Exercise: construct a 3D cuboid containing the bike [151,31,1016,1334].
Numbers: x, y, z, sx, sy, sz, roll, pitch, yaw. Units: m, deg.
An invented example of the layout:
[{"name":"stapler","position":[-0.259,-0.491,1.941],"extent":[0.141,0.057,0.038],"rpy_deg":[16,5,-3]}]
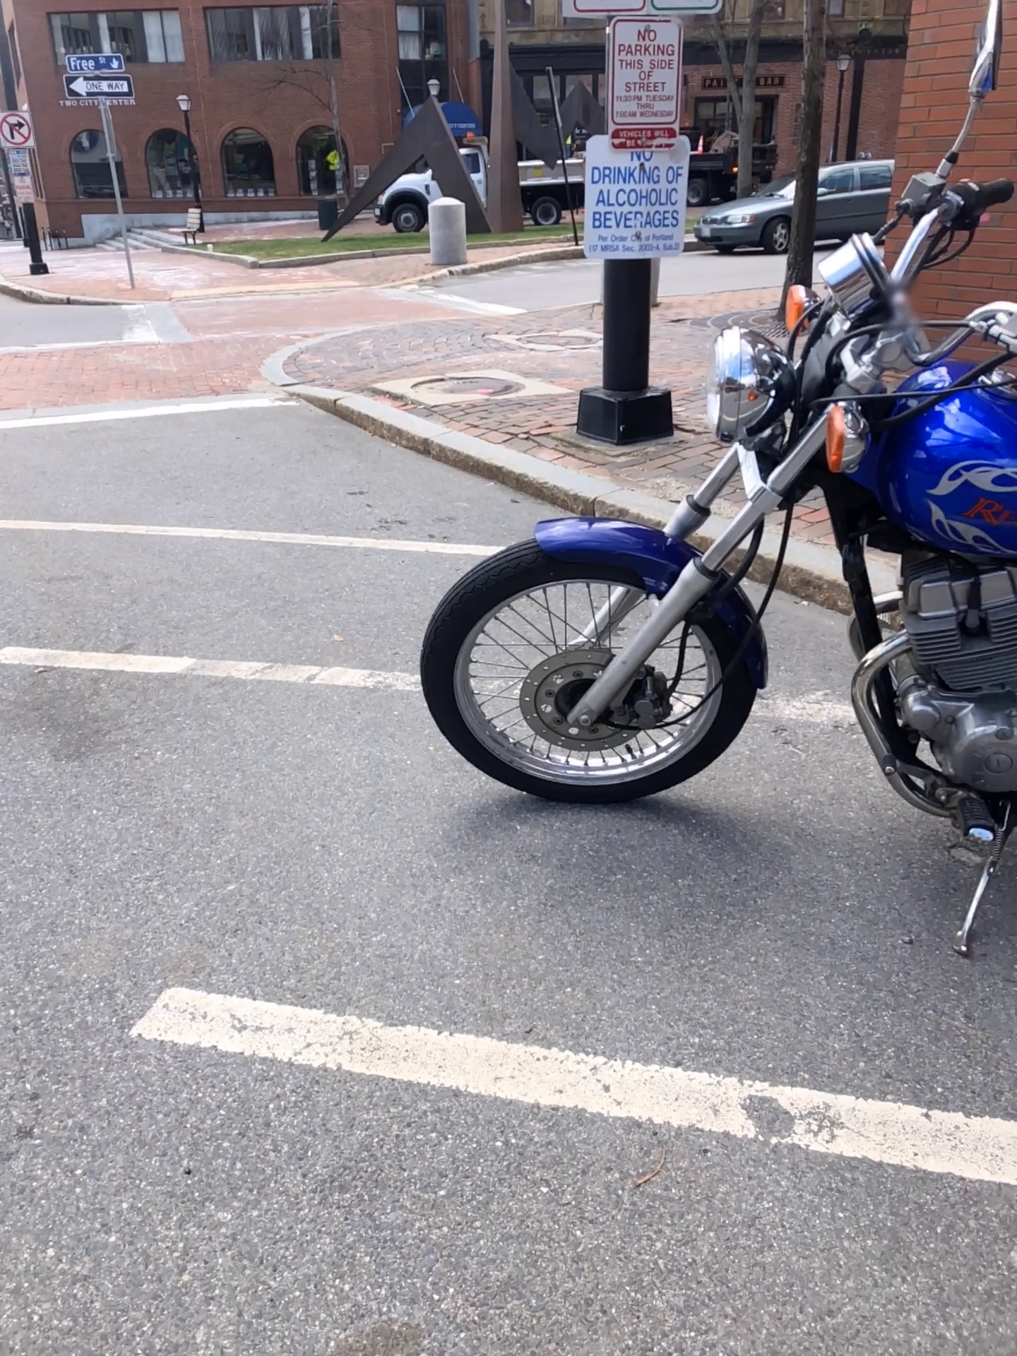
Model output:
[{"name":"bike","position":[0.843,-0.082,1.485],"extent":[2.024,1.179,0.930],"rpy_deg":[5,25,5]}]
